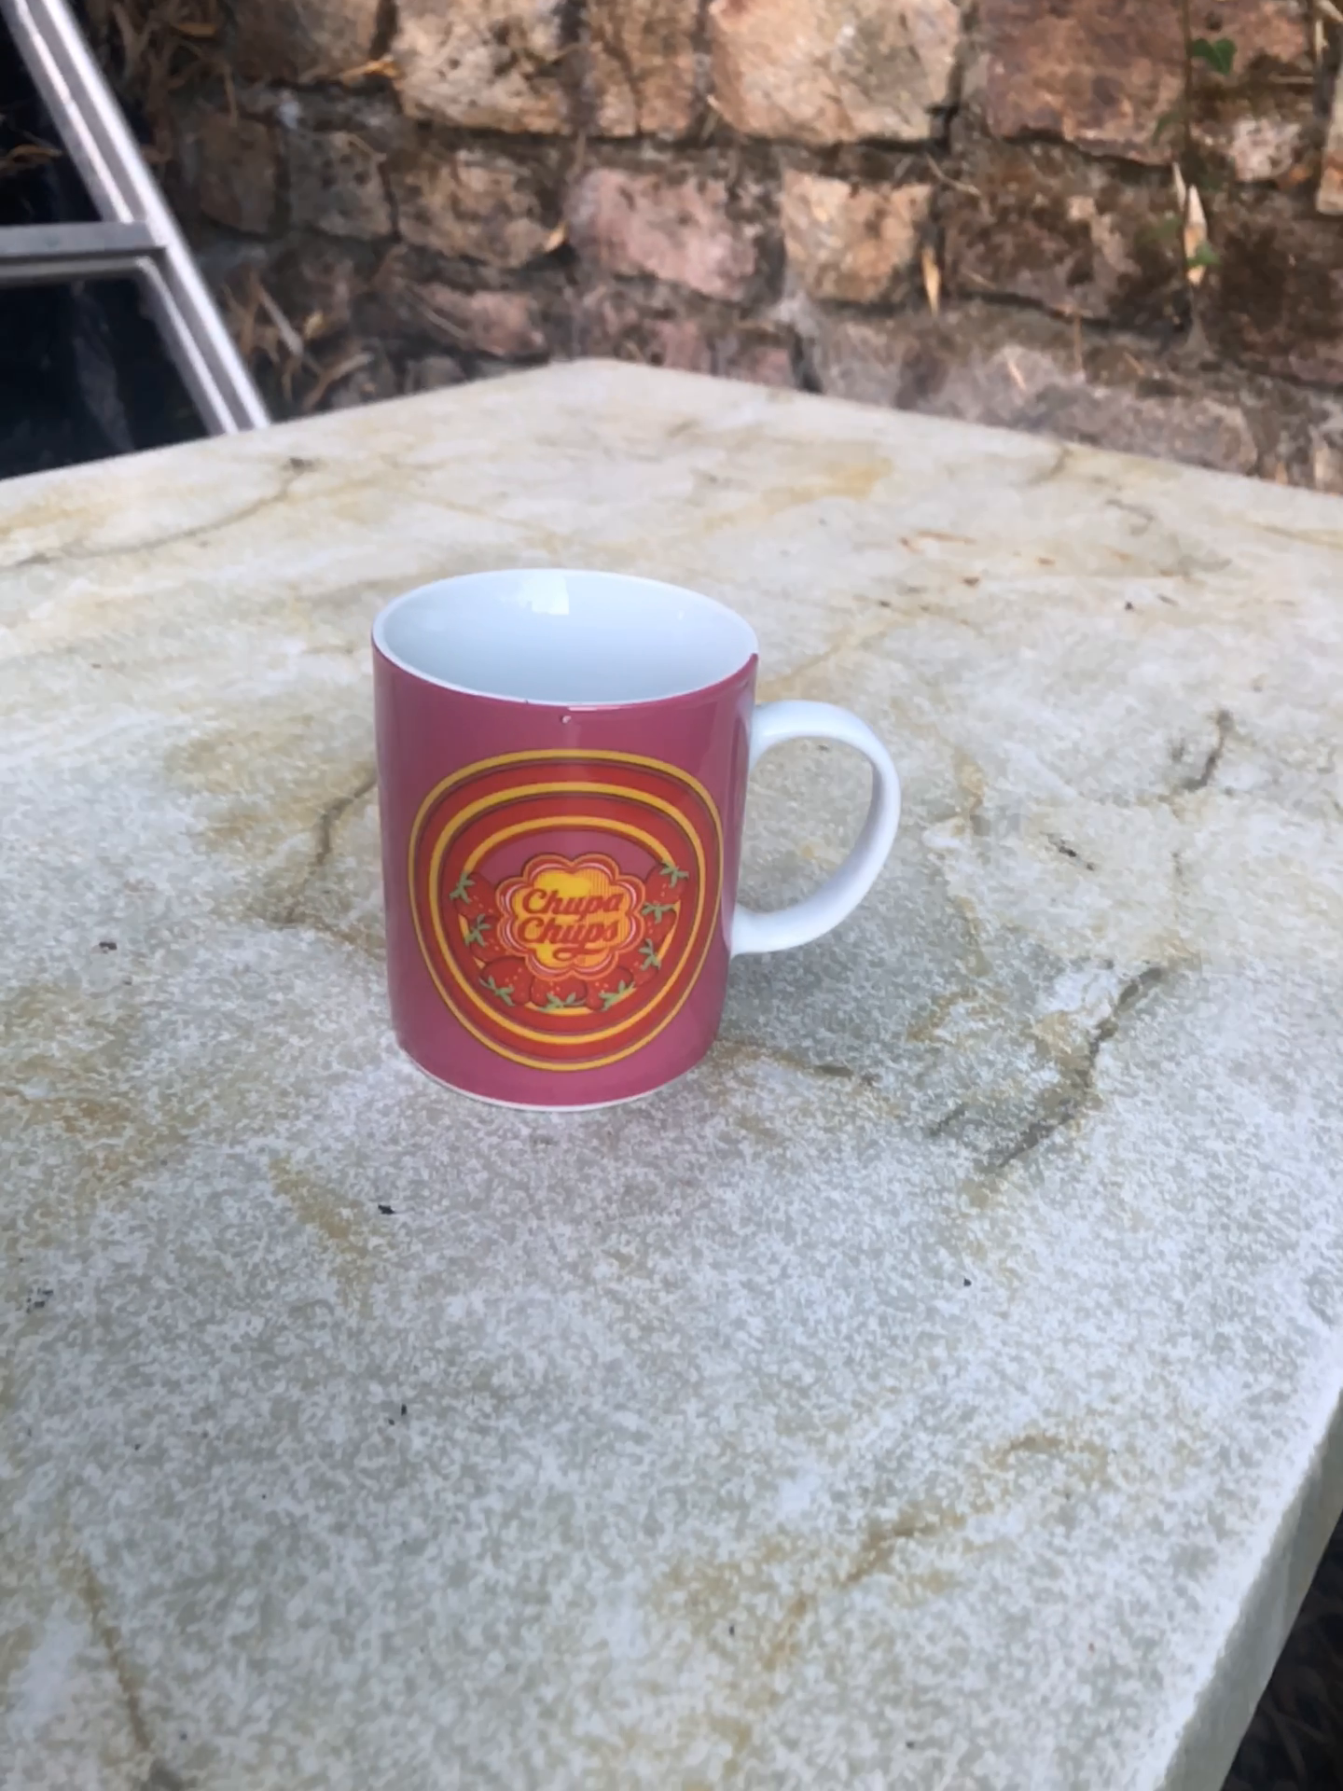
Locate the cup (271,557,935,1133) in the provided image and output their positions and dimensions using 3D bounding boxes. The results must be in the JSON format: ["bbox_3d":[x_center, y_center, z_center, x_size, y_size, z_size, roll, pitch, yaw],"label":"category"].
[{"bbox_3d":[-0.017,-0.014,0.312,0.116,0.089,0.077,-3,30,-9],"label":"cup"}]
